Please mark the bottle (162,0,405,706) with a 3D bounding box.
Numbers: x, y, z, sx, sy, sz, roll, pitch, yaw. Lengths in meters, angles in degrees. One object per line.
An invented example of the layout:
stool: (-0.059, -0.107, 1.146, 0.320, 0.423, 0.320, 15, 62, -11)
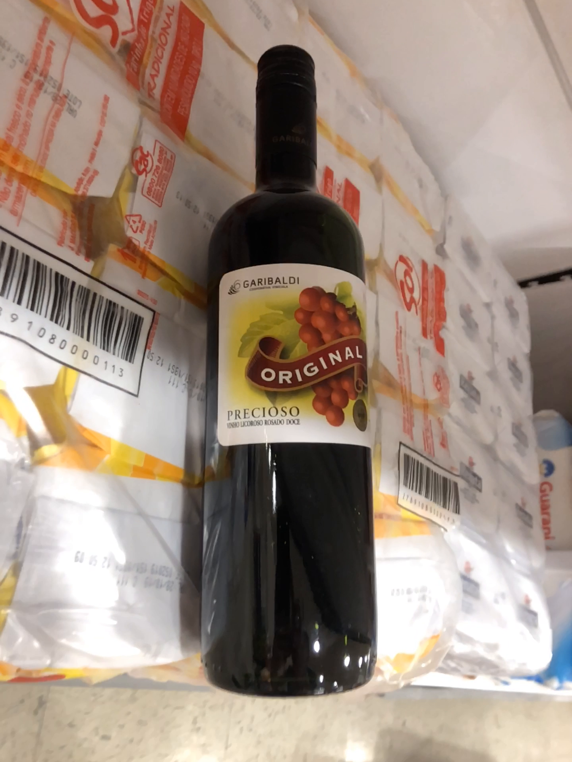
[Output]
bottle: (-0.008, -0.032, 0.305, 0.080, 0.070, 0.320, 5, 74, -26)
